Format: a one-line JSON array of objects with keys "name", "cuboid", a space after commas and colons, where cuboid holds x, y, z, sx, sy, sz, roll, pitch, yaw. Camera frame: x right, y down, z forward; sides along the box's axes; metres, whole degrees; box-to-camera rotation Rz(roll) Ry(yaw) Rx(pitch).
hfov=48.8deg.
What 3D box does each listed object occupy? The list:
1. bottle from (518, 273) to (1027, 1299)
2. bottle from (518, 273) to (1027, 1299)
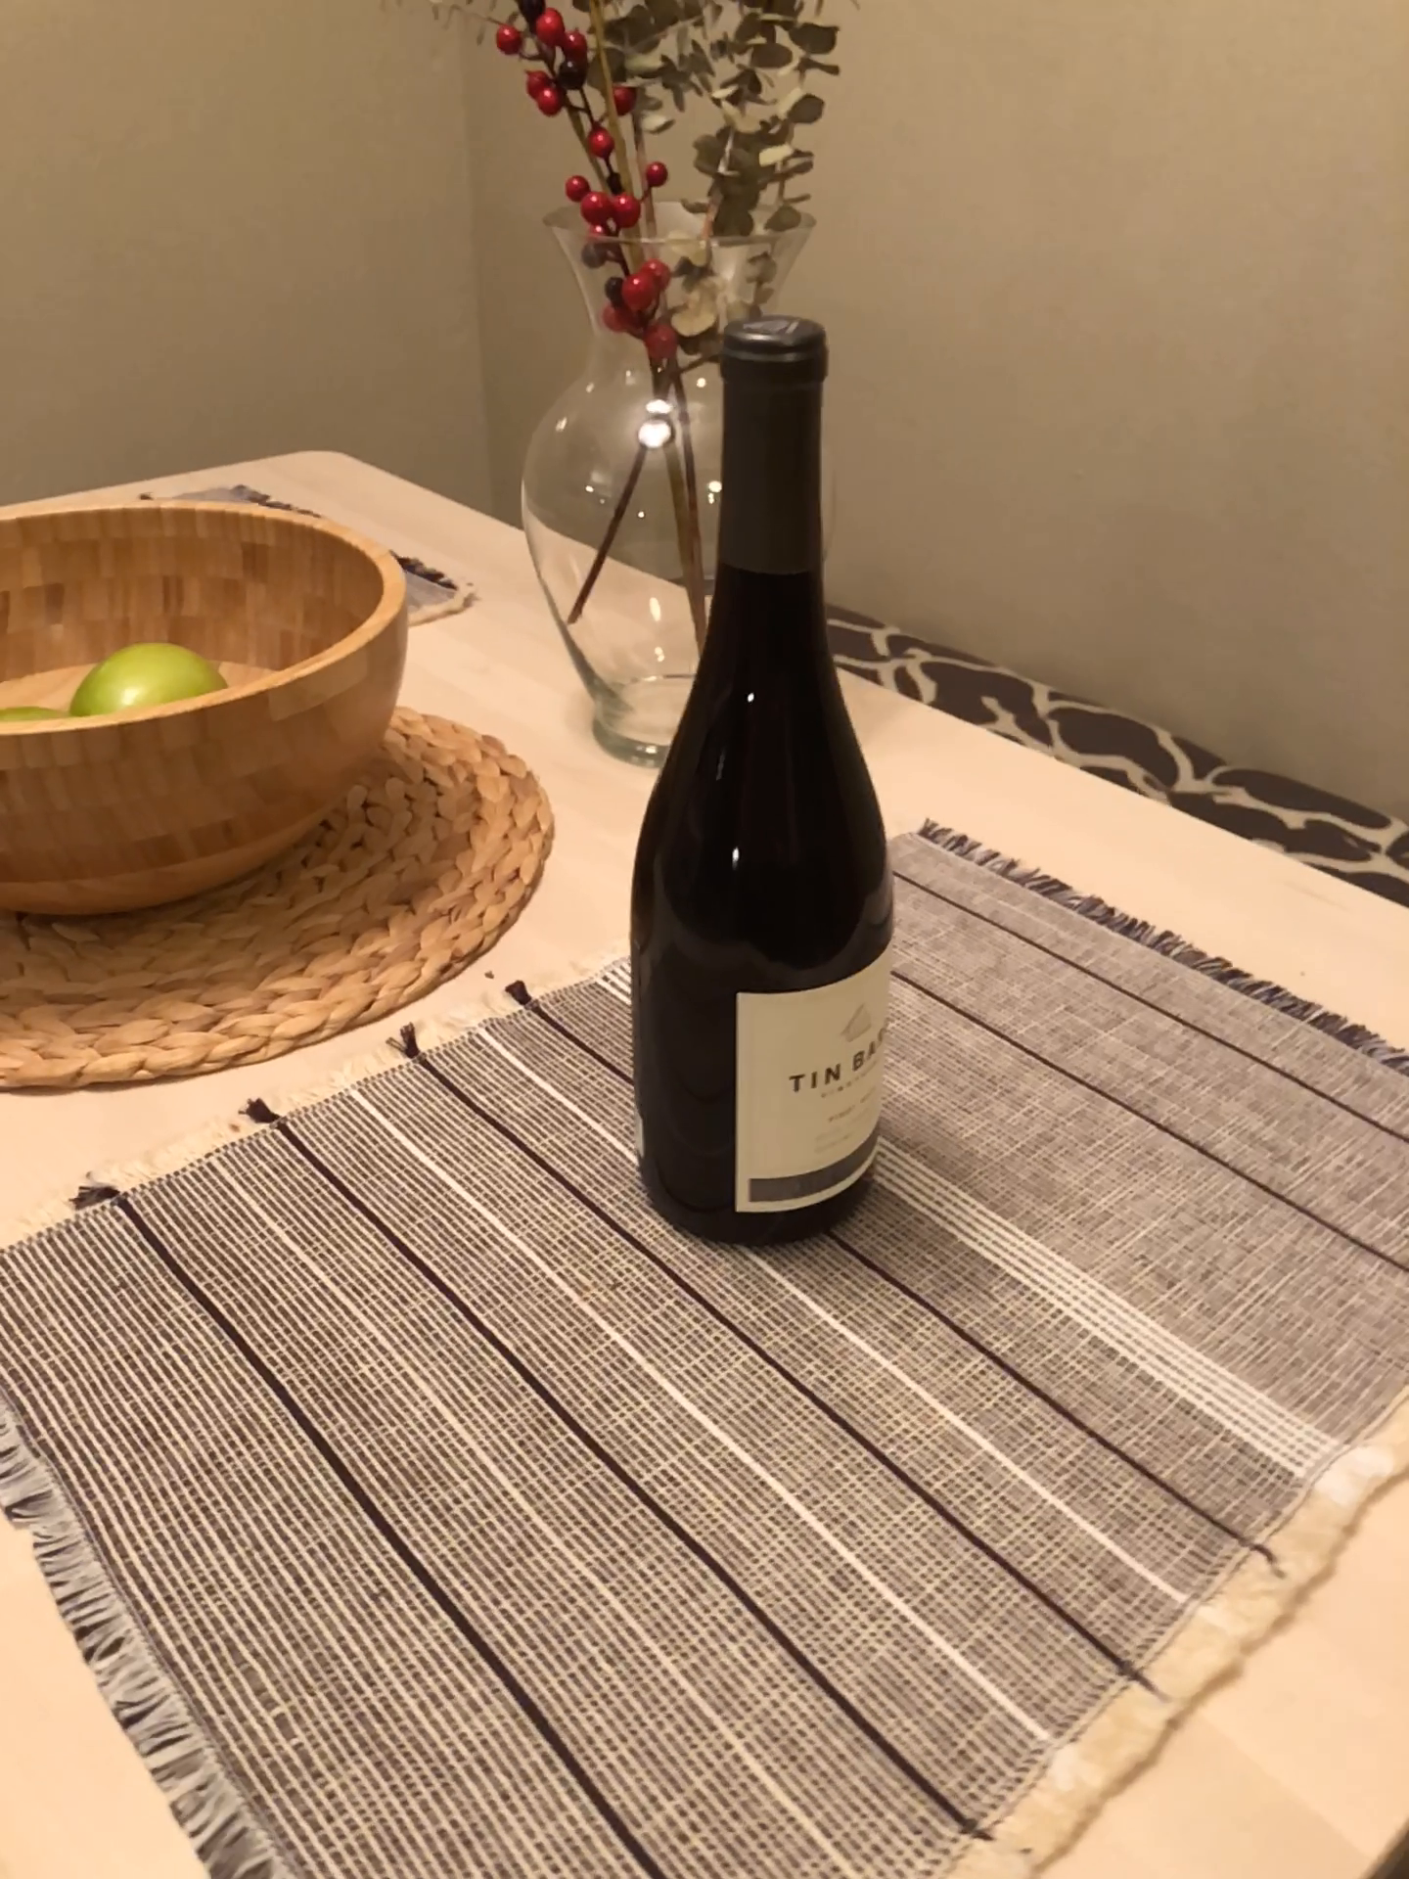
[{"name": "bottle", "cuboid": [0.017, -0.042, 0.485, 0.100, 0.288, 0.090, 26, 39, 35]}, {"name": "bottle", "cuboid": [0.017, -0.042, 0.485, 0.100, 0.288, 0.090, 26, 39, 35]}]
